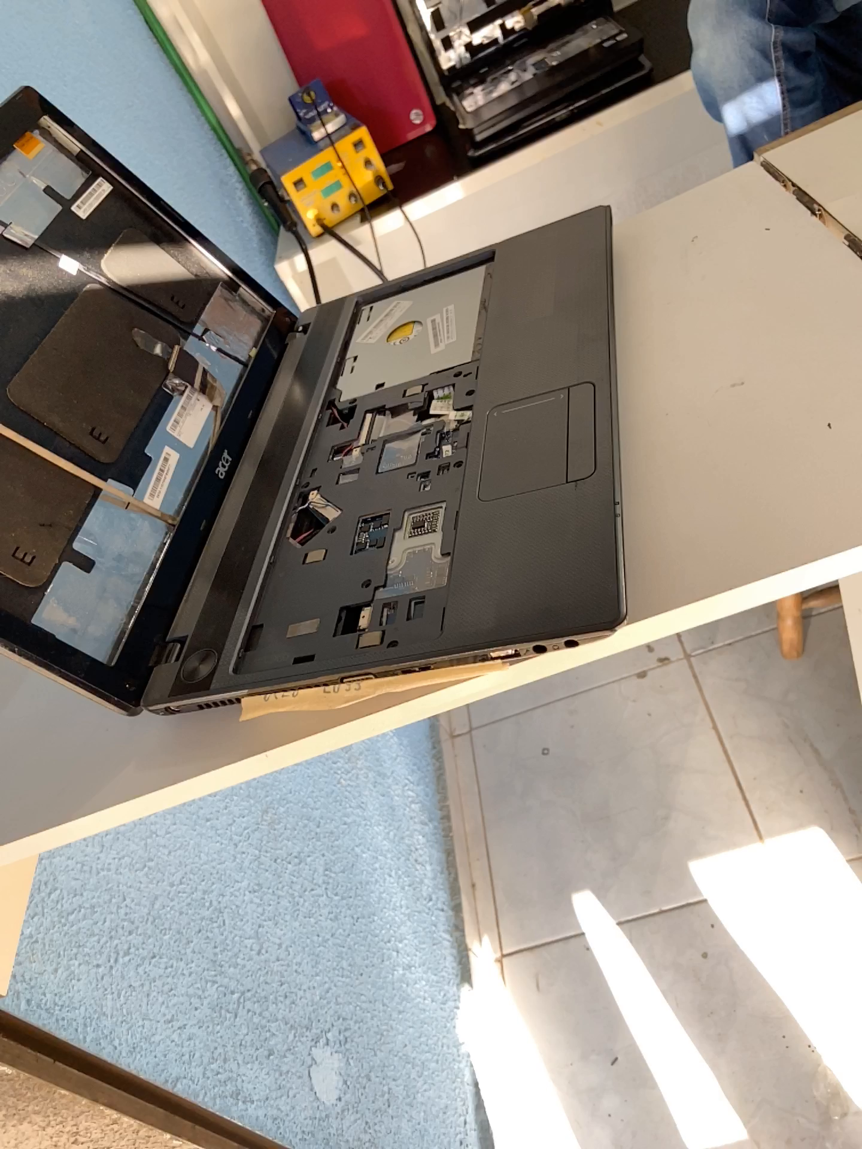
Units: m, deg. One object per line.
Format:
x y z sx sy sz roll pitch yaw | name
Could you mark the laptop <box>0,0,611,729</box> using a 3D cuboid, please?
-0.107 -0.156 0.484 0.349 0.210 0.380 -12 43 22 | laptop
